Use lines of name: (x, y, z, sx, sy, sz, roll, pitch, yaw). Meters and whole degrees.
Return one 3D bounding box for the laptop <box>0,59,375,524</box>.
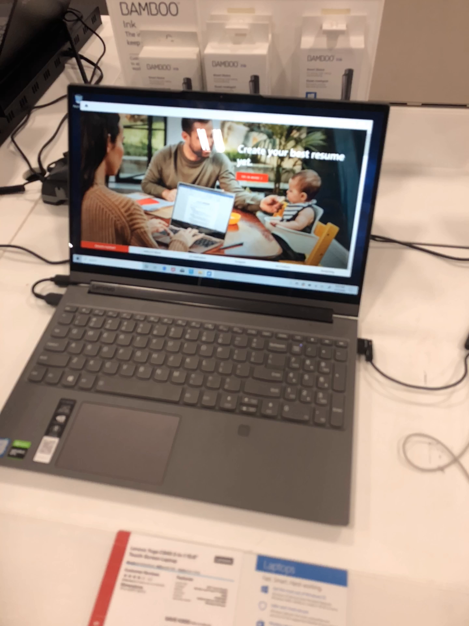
laptop: (-0.049, -0.047, 0.508, 0.336, 0.169, 0.375, 7, 57, 8)
